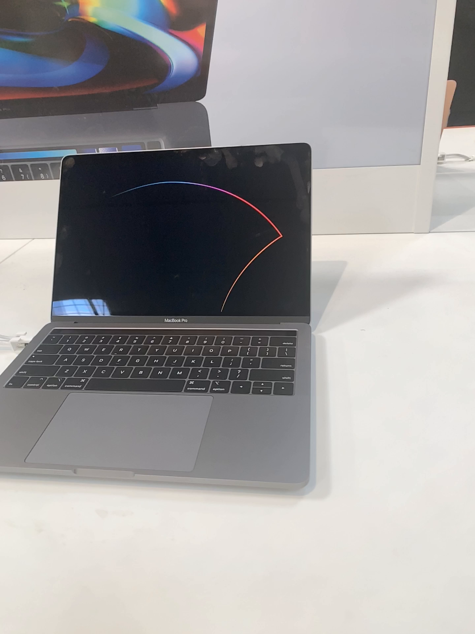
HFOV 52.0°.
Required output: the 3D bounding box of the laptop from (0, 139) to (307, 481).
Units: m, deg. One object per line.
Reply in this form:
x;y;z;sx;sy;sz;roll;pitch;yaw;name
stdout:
-0.085;-0.039;0.444;0.284;0.150;0.316;0;32;9;laptop
